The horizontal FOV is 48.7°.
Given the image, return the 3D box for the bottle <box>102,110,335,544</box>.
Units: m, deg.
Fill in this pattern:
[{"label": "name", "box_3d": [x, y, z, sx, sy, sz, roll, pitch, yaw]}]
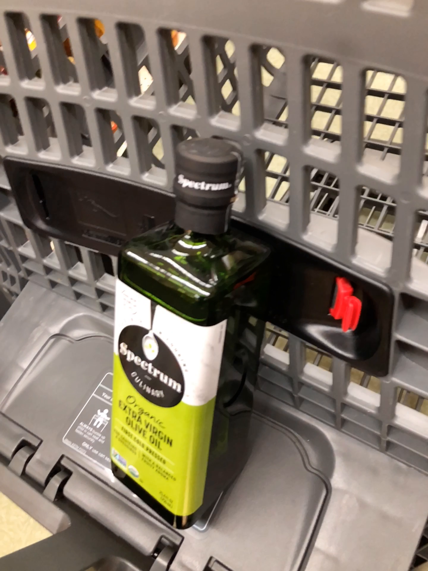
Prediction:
[{"label": "bottle", "box_3d": [-0.010, 0.036, 0.289, 0.080, 0.250, 0.076, 5, 33, -3]}]
